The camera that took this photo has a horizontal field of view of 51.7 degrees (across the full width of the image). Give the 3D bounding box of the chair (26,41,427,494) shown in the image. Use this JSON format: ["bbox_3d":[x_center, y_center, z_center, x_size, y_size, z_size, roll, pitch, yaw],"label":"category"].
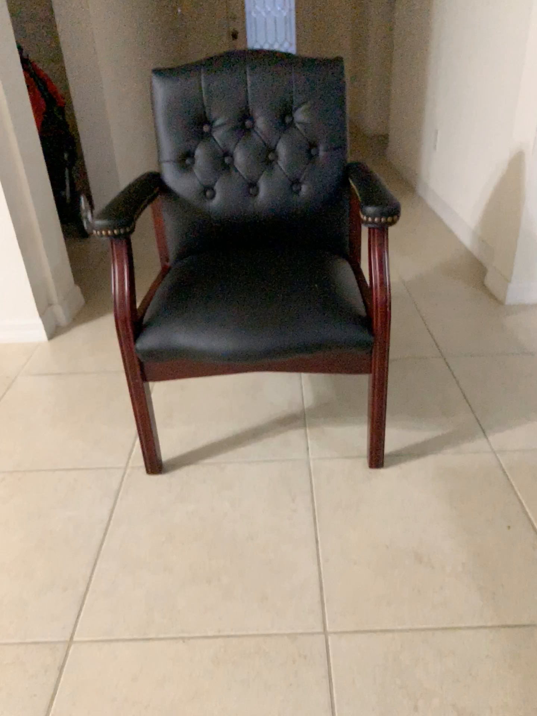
[{"bbox_3d":[-0.046,-0.247,1.378,0.631,0.908,0.661,-2,30,2],"label":"chair"}]
